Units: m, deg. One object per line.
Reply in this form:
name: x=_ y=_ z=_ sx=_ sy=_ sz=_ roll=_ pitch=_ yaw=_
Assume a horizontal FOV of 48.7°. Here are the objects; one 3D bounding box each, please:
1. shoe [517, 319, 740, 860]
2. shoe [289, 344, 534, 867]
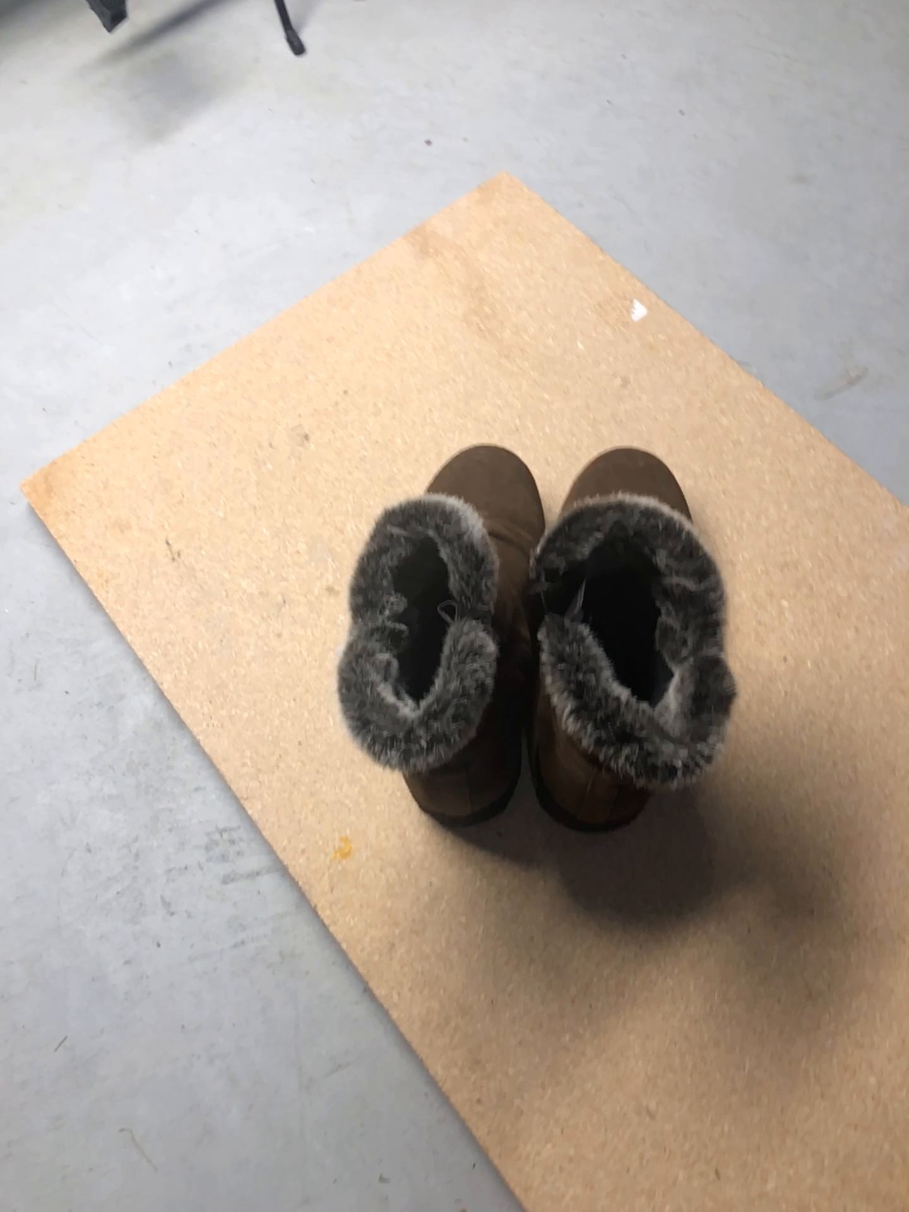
shoe: x=0.099 y=0.001 z=0.608 sx=0.100 sy=0.220 sz=0.250 roll=3 pitch=65 yaw=6
shoe: x=-0.010 y=0.007 z=0.626 sx=0.100 sy=0.200 sz=0.260 roll=3 pitch=65 yaw=6
